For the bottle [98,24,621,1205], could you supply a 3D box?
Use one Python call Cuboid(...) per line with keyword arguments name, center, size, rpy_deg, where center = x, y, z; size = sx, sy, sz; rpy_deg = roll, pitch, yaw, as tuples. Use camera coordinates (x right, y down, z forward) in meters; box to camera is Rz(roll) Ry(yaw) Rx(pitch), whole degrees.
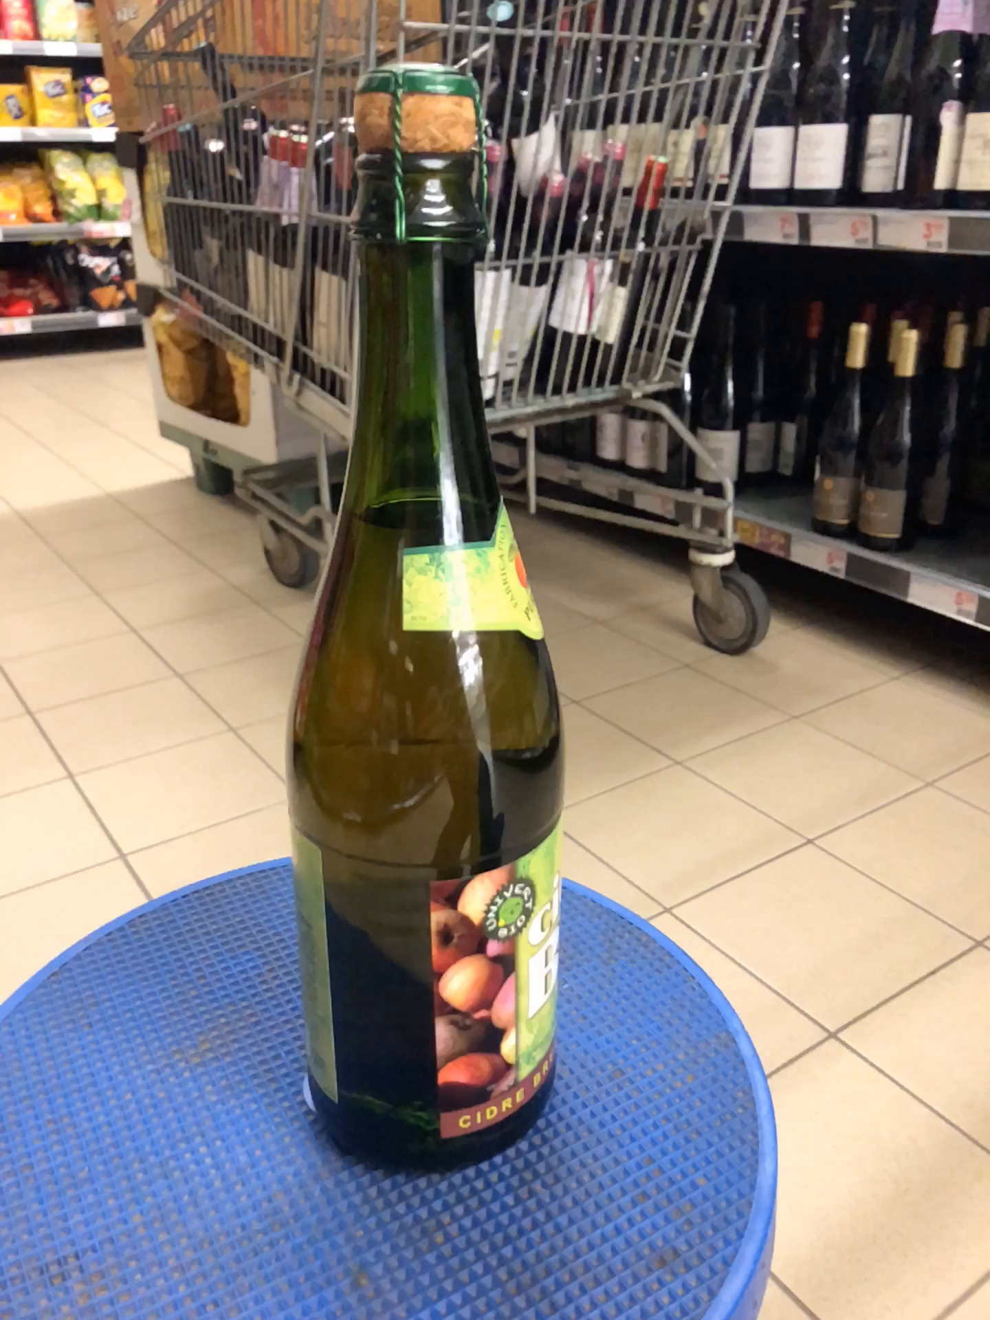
Cuboid(name="bottle", center=(-0.021, -0.001, 0.300), size=(0.090, 0.288, 0.091), rpy_deg=(-1, 23, 0))
